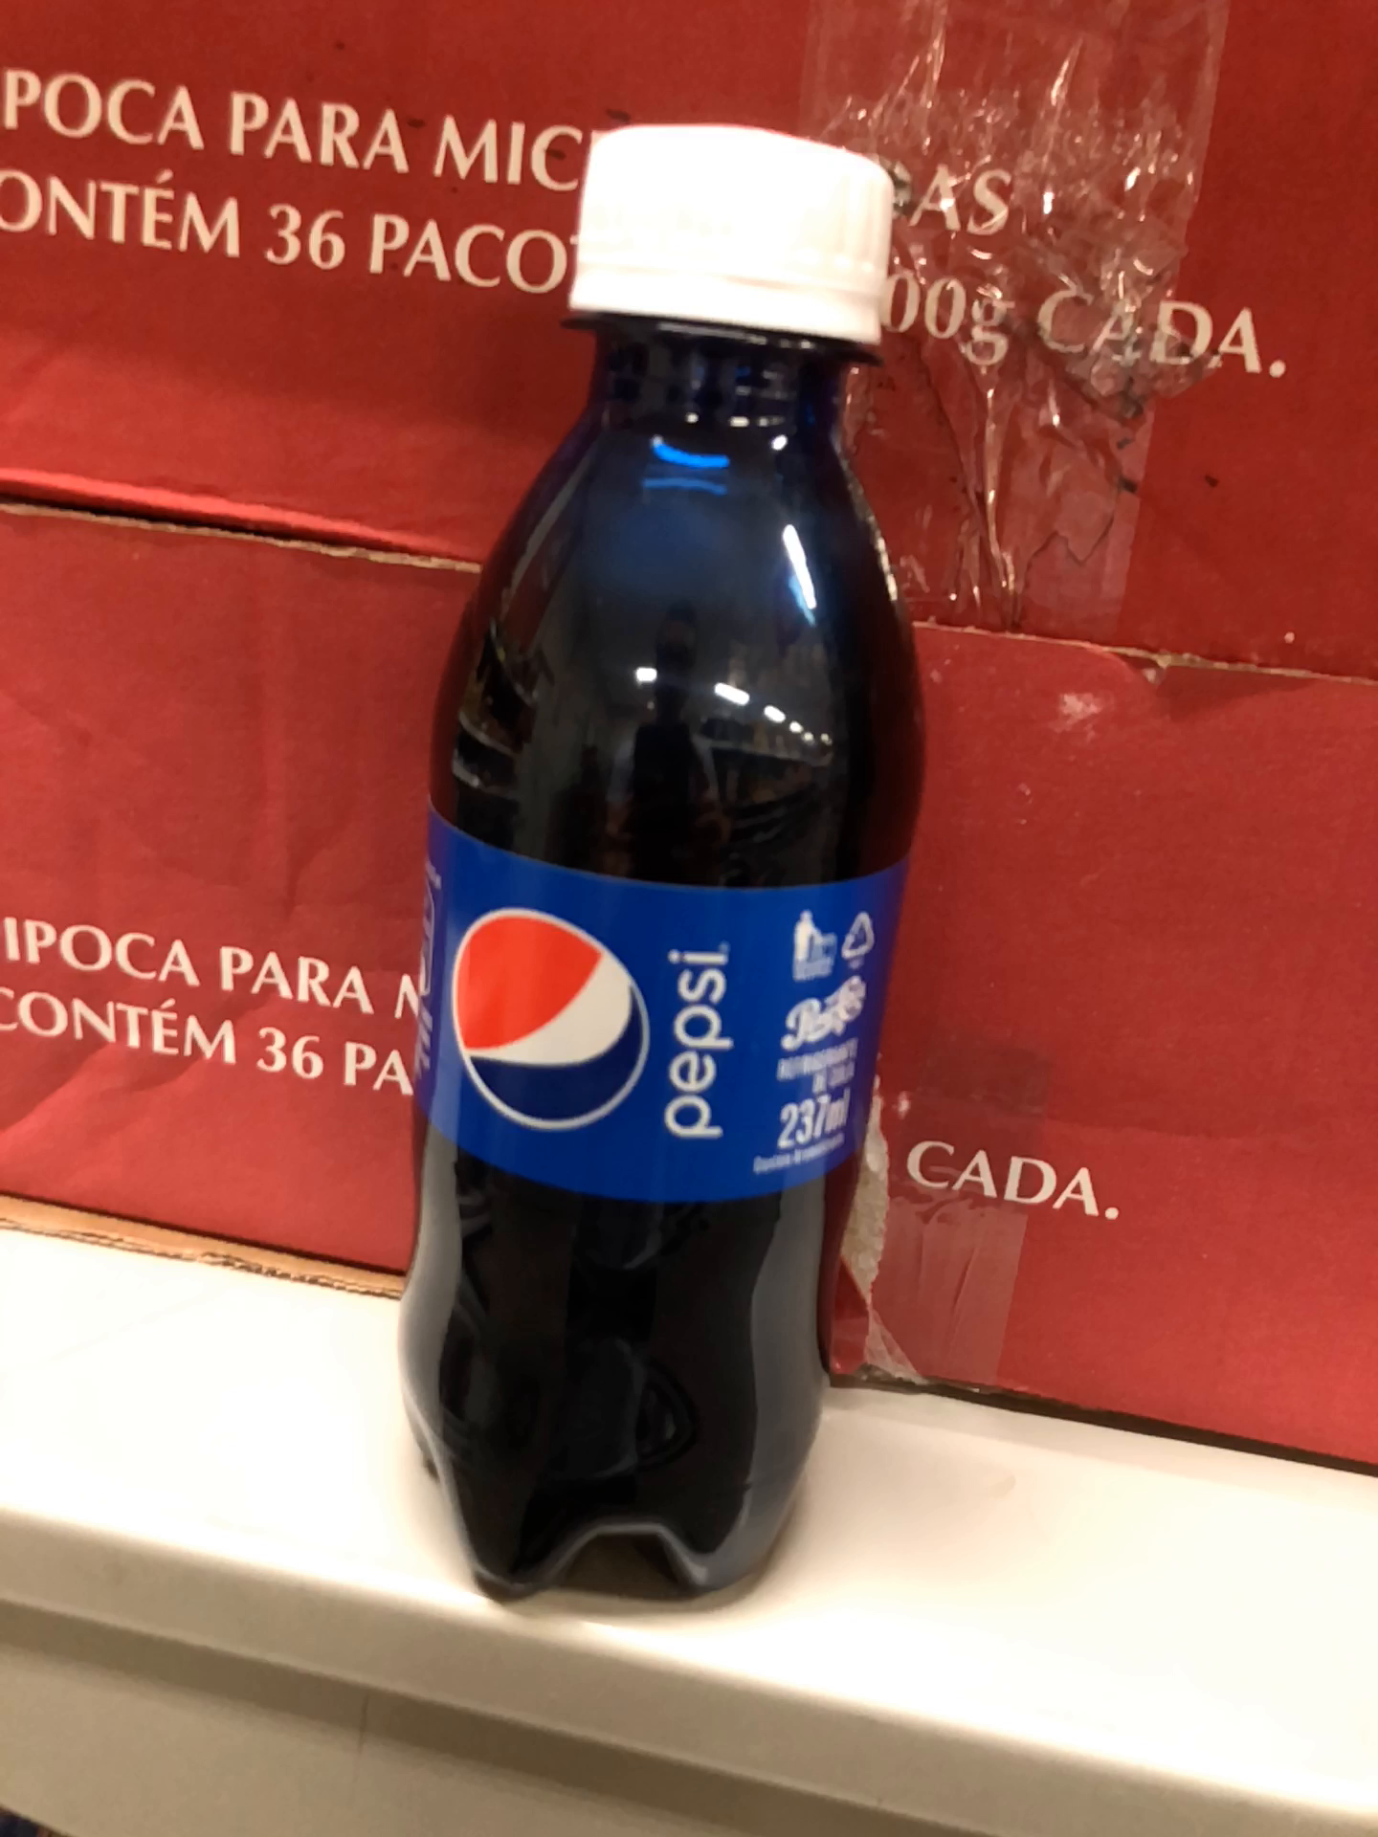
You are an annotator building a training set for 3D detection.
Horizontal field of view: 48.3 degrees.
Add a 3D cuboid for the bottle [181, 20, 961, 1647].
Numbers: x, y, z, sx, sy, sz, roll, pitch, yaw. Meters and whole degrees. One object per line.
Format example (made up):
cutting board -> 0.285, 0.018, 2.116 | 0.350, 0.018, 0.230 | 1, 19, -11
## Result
bottle -> -0.010, -0.007, 0.168 | 0.060, 0.149, 0.060 | 3, 19, -1
